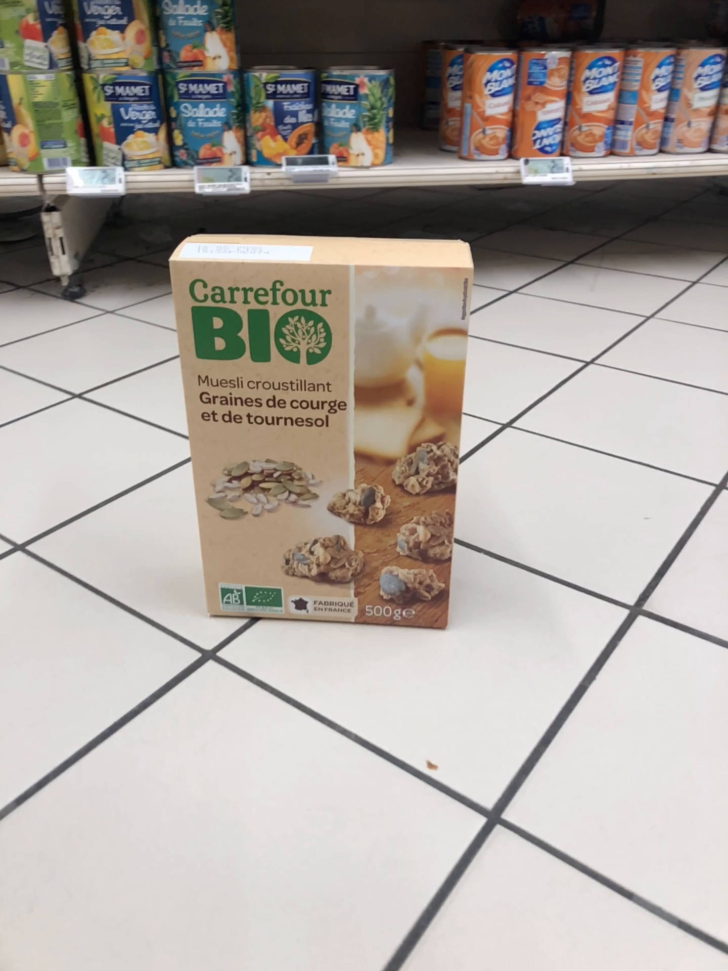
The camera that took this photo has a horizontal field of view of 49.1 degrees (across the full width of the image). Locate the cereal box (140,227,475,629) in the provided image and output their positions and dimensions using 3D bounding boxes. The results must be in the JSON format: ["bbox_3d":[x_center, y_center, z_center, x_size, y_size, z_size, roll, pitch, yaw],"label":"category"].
[{"bbox_3d":[-0.026,-0.031,0.486,0.170,0.229,0.070,3,29,4],"label":"cereal box"}]
